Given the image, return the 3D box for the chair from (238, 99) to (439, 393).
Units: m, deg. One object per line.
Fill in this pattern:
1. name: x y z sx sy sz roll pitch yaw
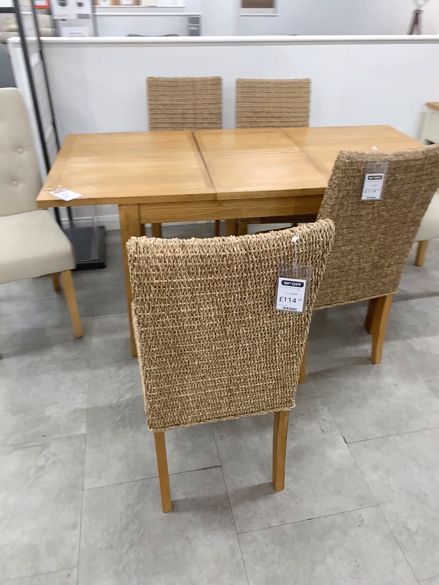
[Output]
1. chair: 0.388 -0.188 1.686 0.438 0.894 0.557 -10 35 -16

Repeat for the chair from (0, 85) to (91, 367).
1. chair: -0.808 -0.266 1.744 0.398 0.904 0.516 -12 35 -19

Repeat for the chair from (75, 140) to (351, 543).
1. chair: -0.062 0.123 1.248 0.487 0.904 0.567 -6 34 -11
